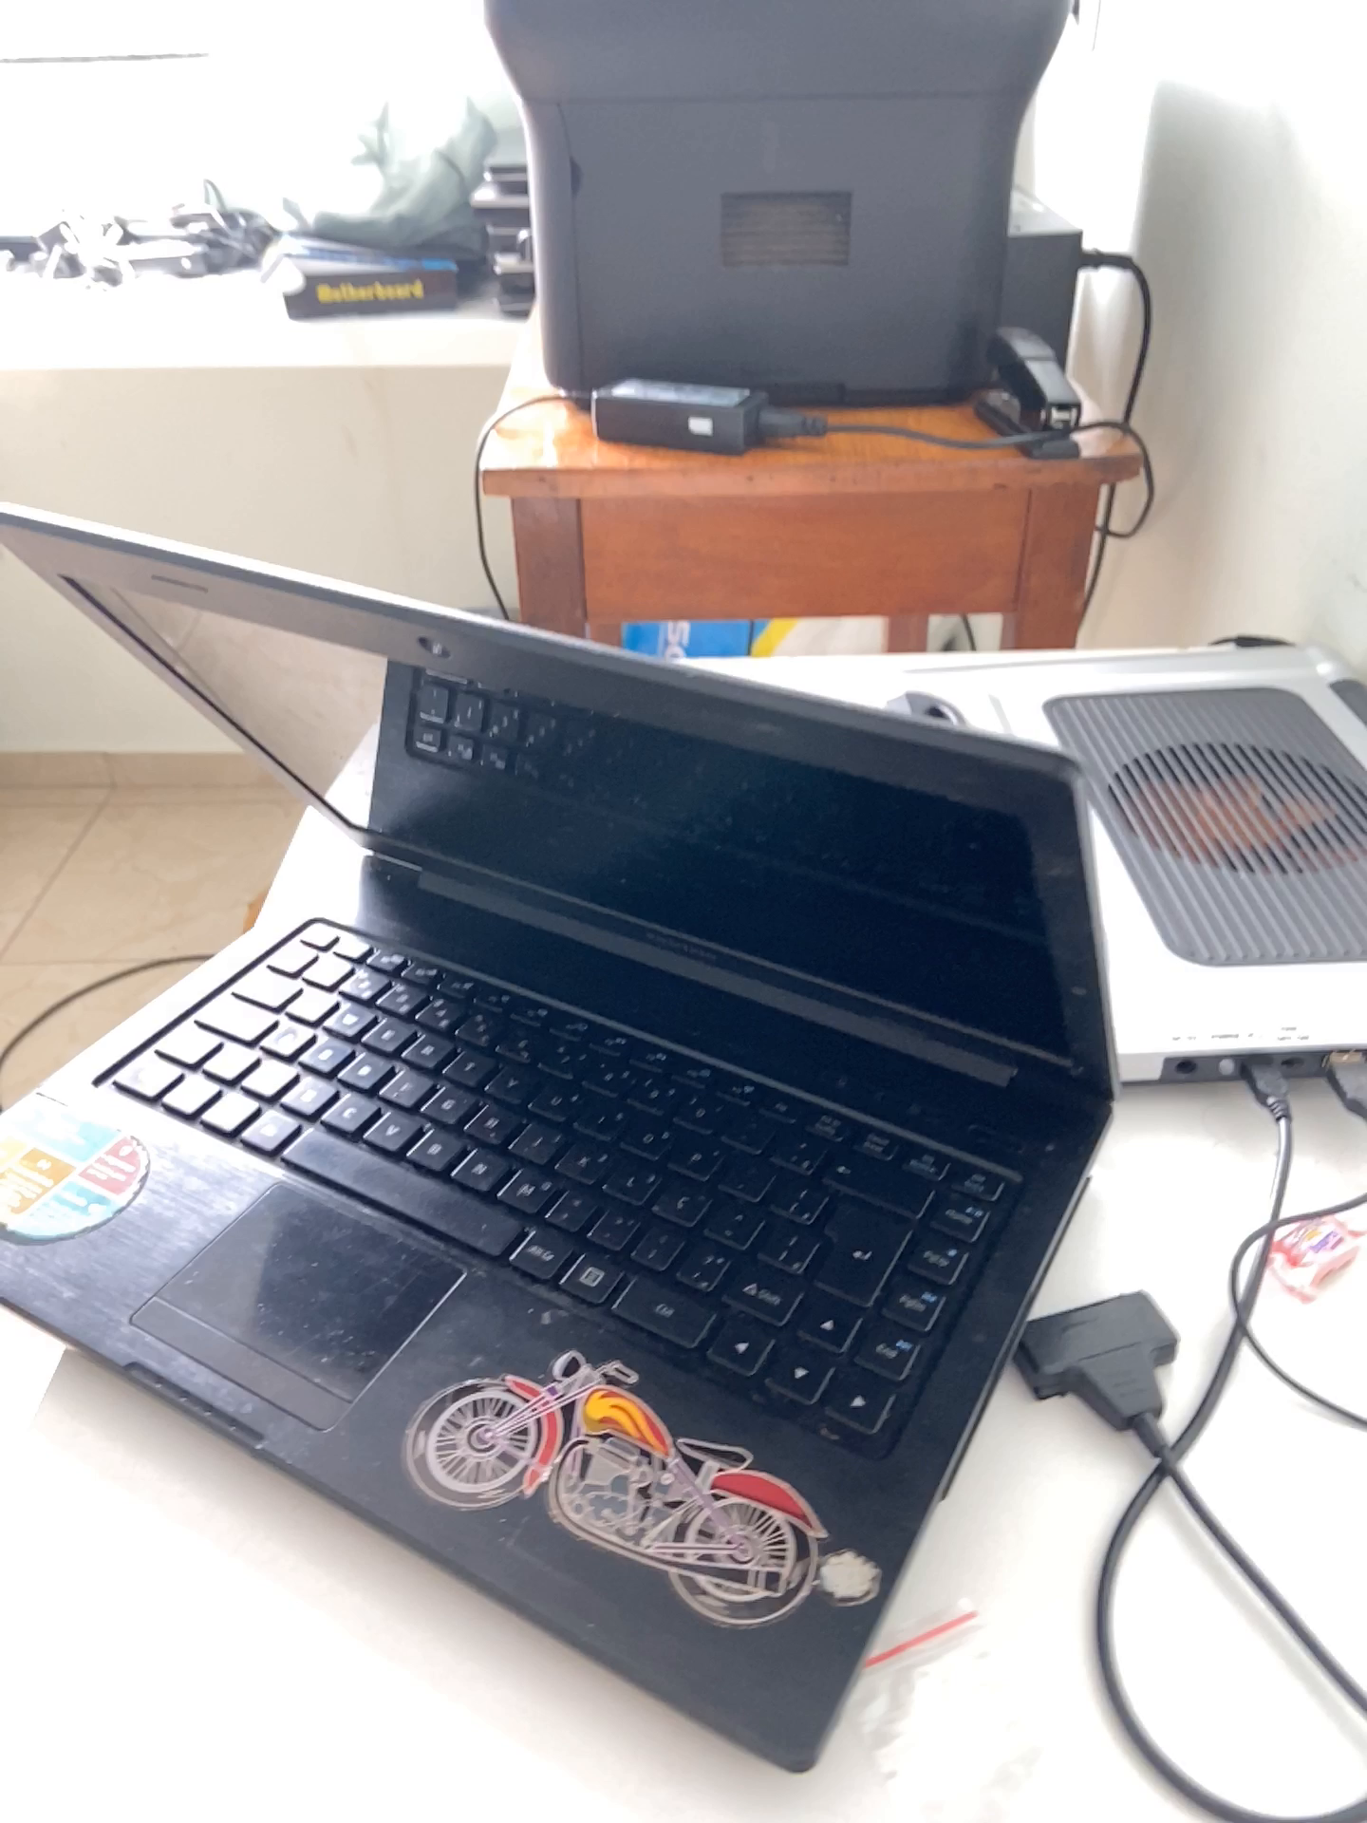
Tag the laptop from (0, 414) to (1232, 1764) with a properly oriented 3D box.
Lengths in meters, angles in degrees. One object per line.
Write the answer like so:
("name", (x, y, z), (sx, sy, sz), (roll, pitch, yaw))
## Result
("laptop", (-0.056, 0.003, 0.407), (0.330, 0.189, 0.234), (17, 39, 26))
